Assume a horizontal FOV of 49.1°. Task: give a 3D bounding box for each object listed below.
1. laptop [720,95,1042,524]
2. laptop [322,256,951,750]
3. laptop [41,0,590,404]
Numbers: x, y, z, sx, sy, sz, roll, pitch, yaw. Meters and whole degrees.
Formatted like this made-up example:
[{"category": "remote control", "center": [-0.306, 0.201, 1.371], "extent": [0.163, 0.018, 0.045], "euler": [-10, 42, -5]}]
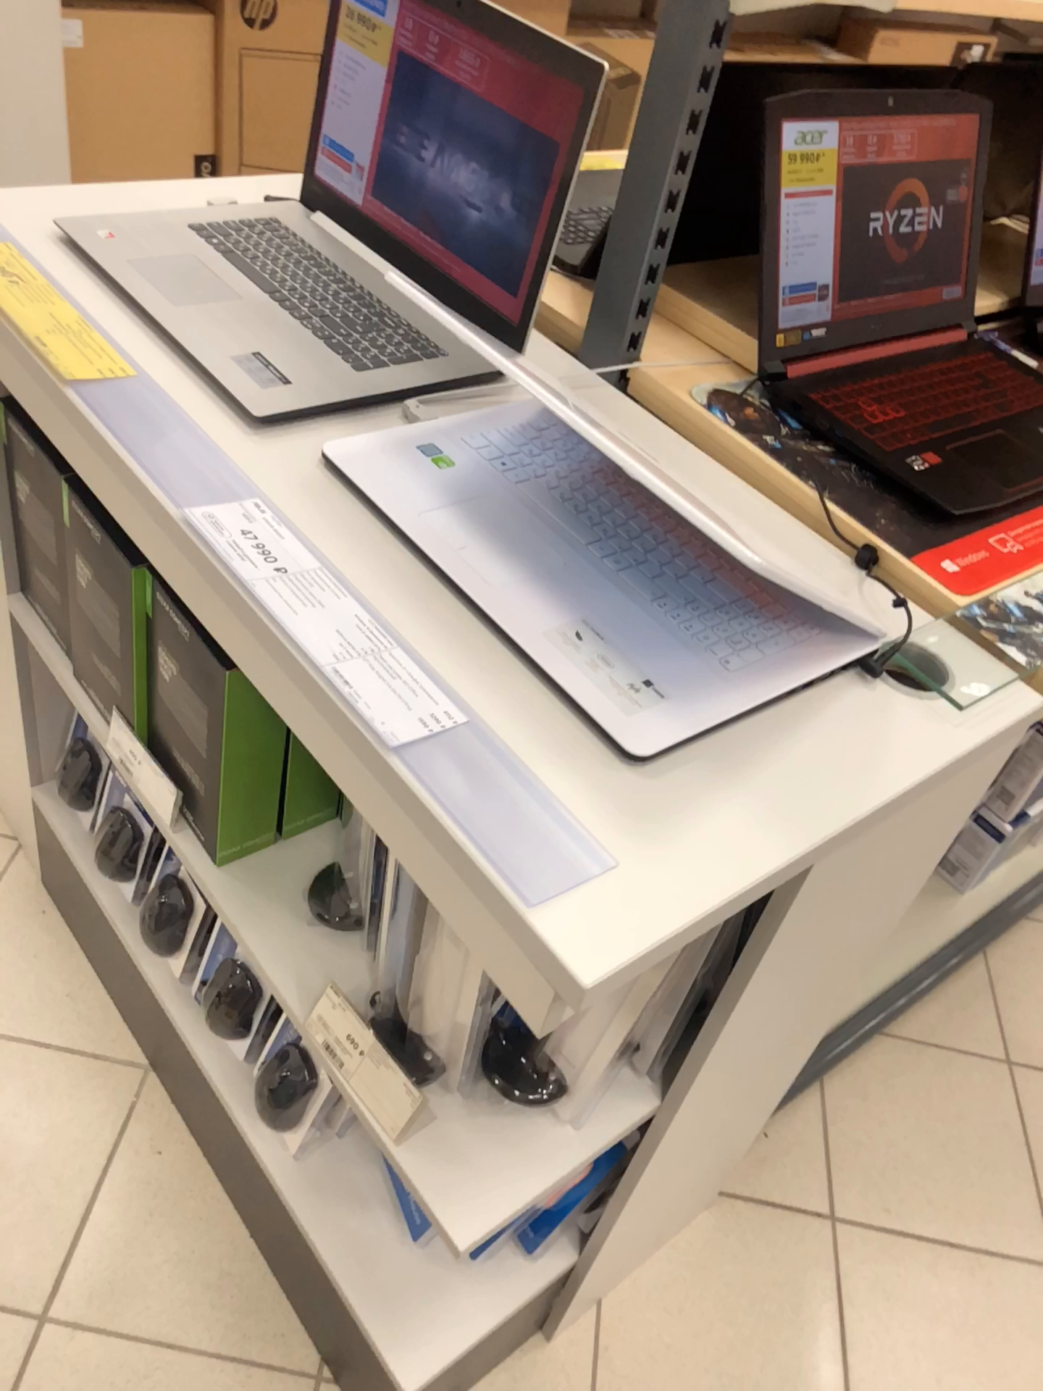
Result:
[{"category": "laptop", "center": [0.467, -0.421, 1.169], "extent": [0.378, 0.220, 0.367], "euler": [-18, 50, -30]}, {"category": "laptop", "center": [0.072, -0.175, 0.883], "extent": [0.257, 0.142, 0.391], "euler": [-23, 54, -36]}, {"category": "laptop", "center": [-0.203, -0.522, 1.077], "extent": [0.337, 0.262, 0.393], "euler": [-24, 54, -37]}]
